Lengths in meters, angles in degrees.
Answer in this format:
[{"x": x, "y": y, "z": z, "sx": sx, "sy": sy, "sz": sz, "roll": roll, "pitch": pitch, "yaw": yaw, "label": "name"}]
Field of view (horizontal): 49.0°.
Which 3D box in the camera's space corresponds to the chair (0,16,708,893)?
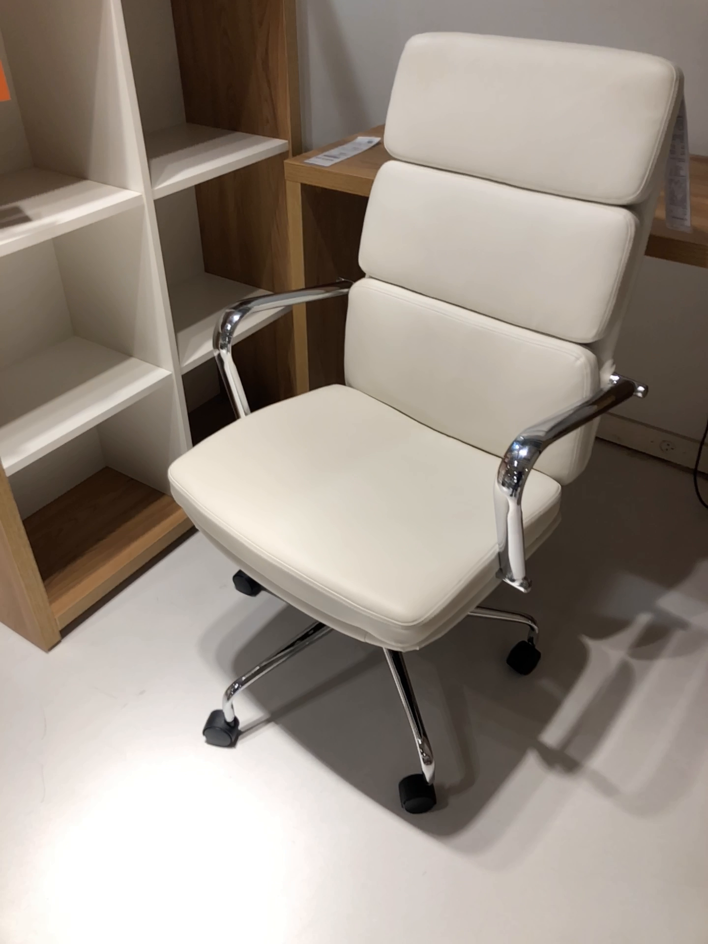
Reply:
[{"x": 0.013, "y": -0.066, "z": 1.227, "sx": 0.642, "sy": 1.032, "sz": 0.684, "roll": 24, "pitch": 43, "yaw": 29, "label": "chair"}]
